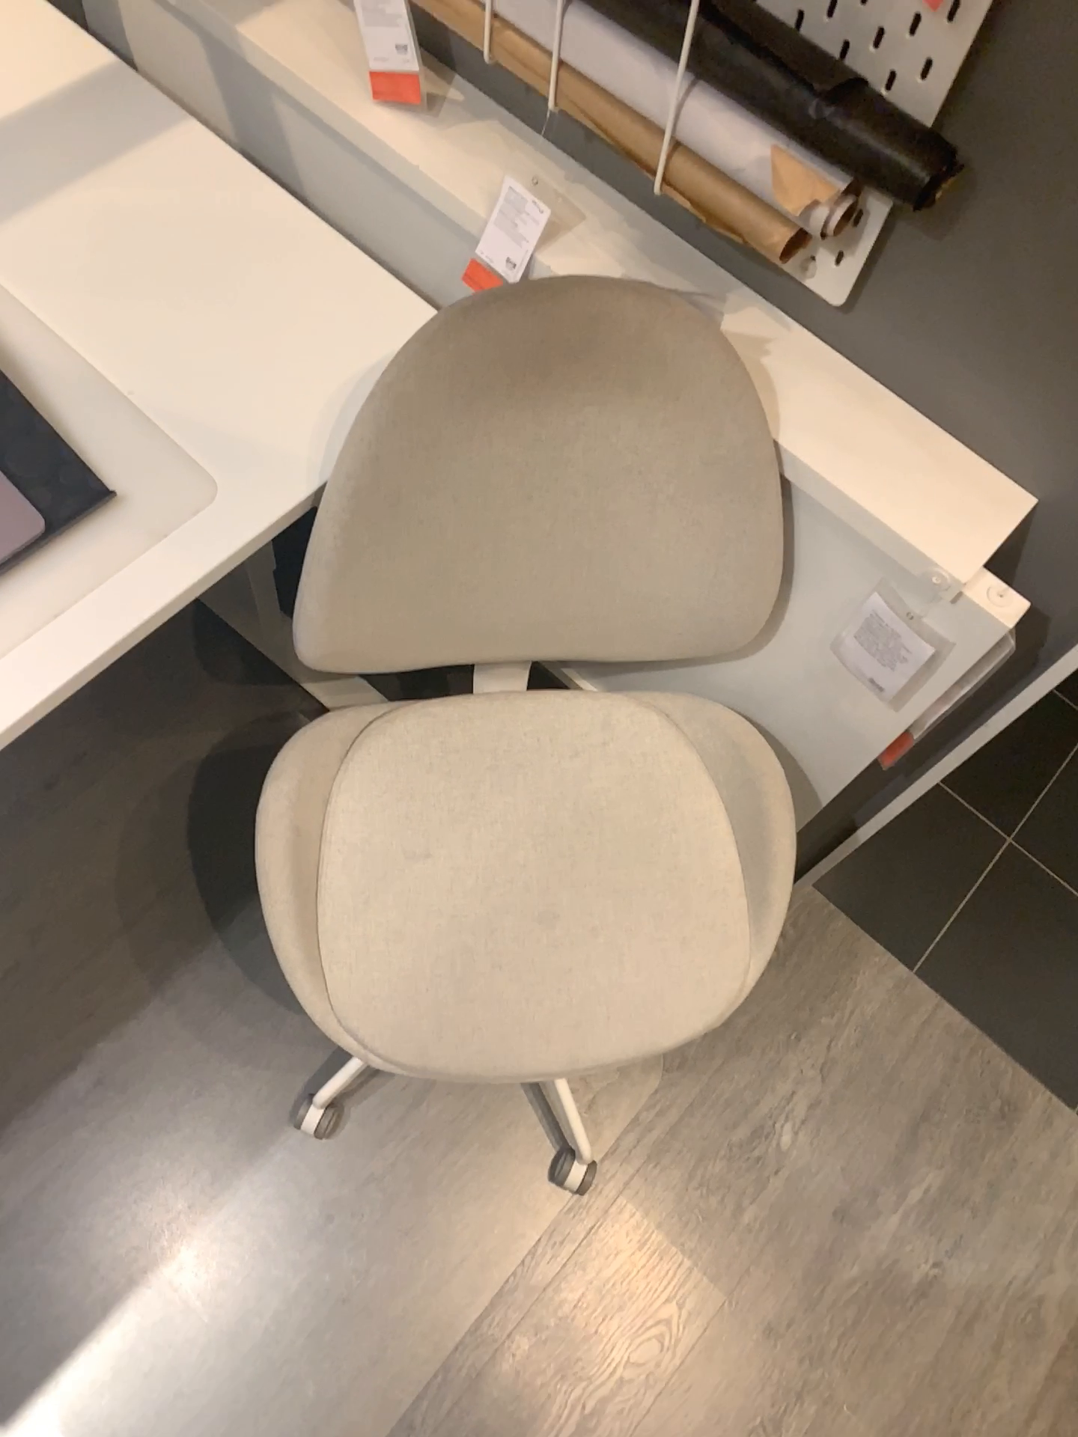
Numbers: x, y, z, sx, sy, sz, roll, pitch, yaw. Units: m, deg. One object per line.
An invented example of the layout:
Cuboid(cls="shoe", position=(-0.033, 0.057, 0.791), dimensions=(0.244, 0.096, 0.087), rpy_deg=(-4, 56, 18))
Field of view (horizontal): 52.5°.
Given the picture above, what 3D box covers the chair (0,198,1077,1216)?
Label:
Cuboid(cls="chair", position=(-0.002, 0.142, 1.046), dimensions=(0.610, 0.939, 0.591), rpy_deg=(4, 65, -6))
